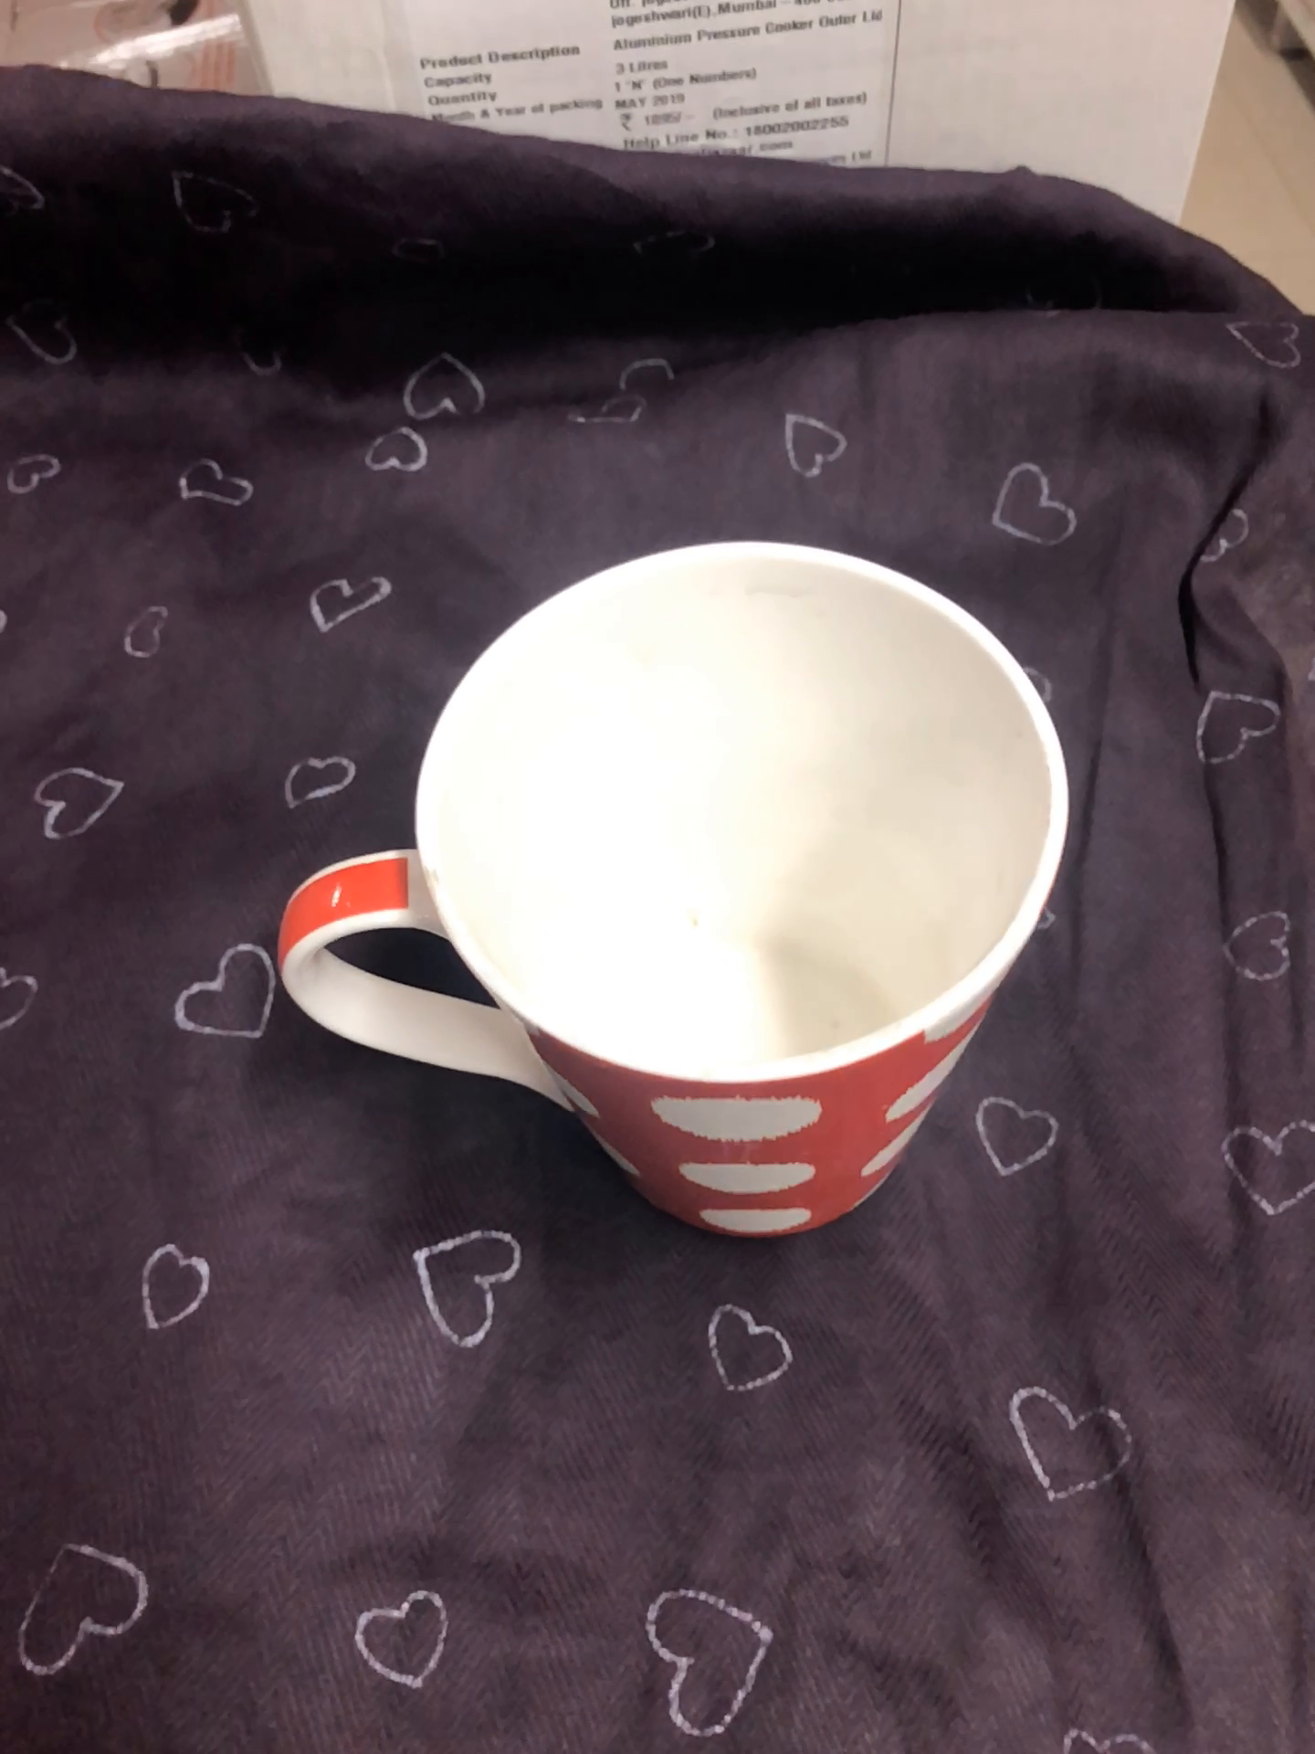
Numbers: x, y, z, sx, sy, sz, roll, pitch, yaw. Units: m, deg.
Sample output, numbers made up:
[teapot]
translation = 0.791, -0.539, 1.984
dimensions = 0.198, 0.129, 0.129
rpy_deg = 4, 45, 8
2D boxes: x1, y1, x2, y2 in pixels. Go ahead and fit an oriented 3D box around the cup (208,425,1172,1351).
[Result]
[cup]
translation = -0.001, 0.005, 0.239
dimensions = 0.110, 0.100, 0.090
rpy_deg = -12, 58, -7
